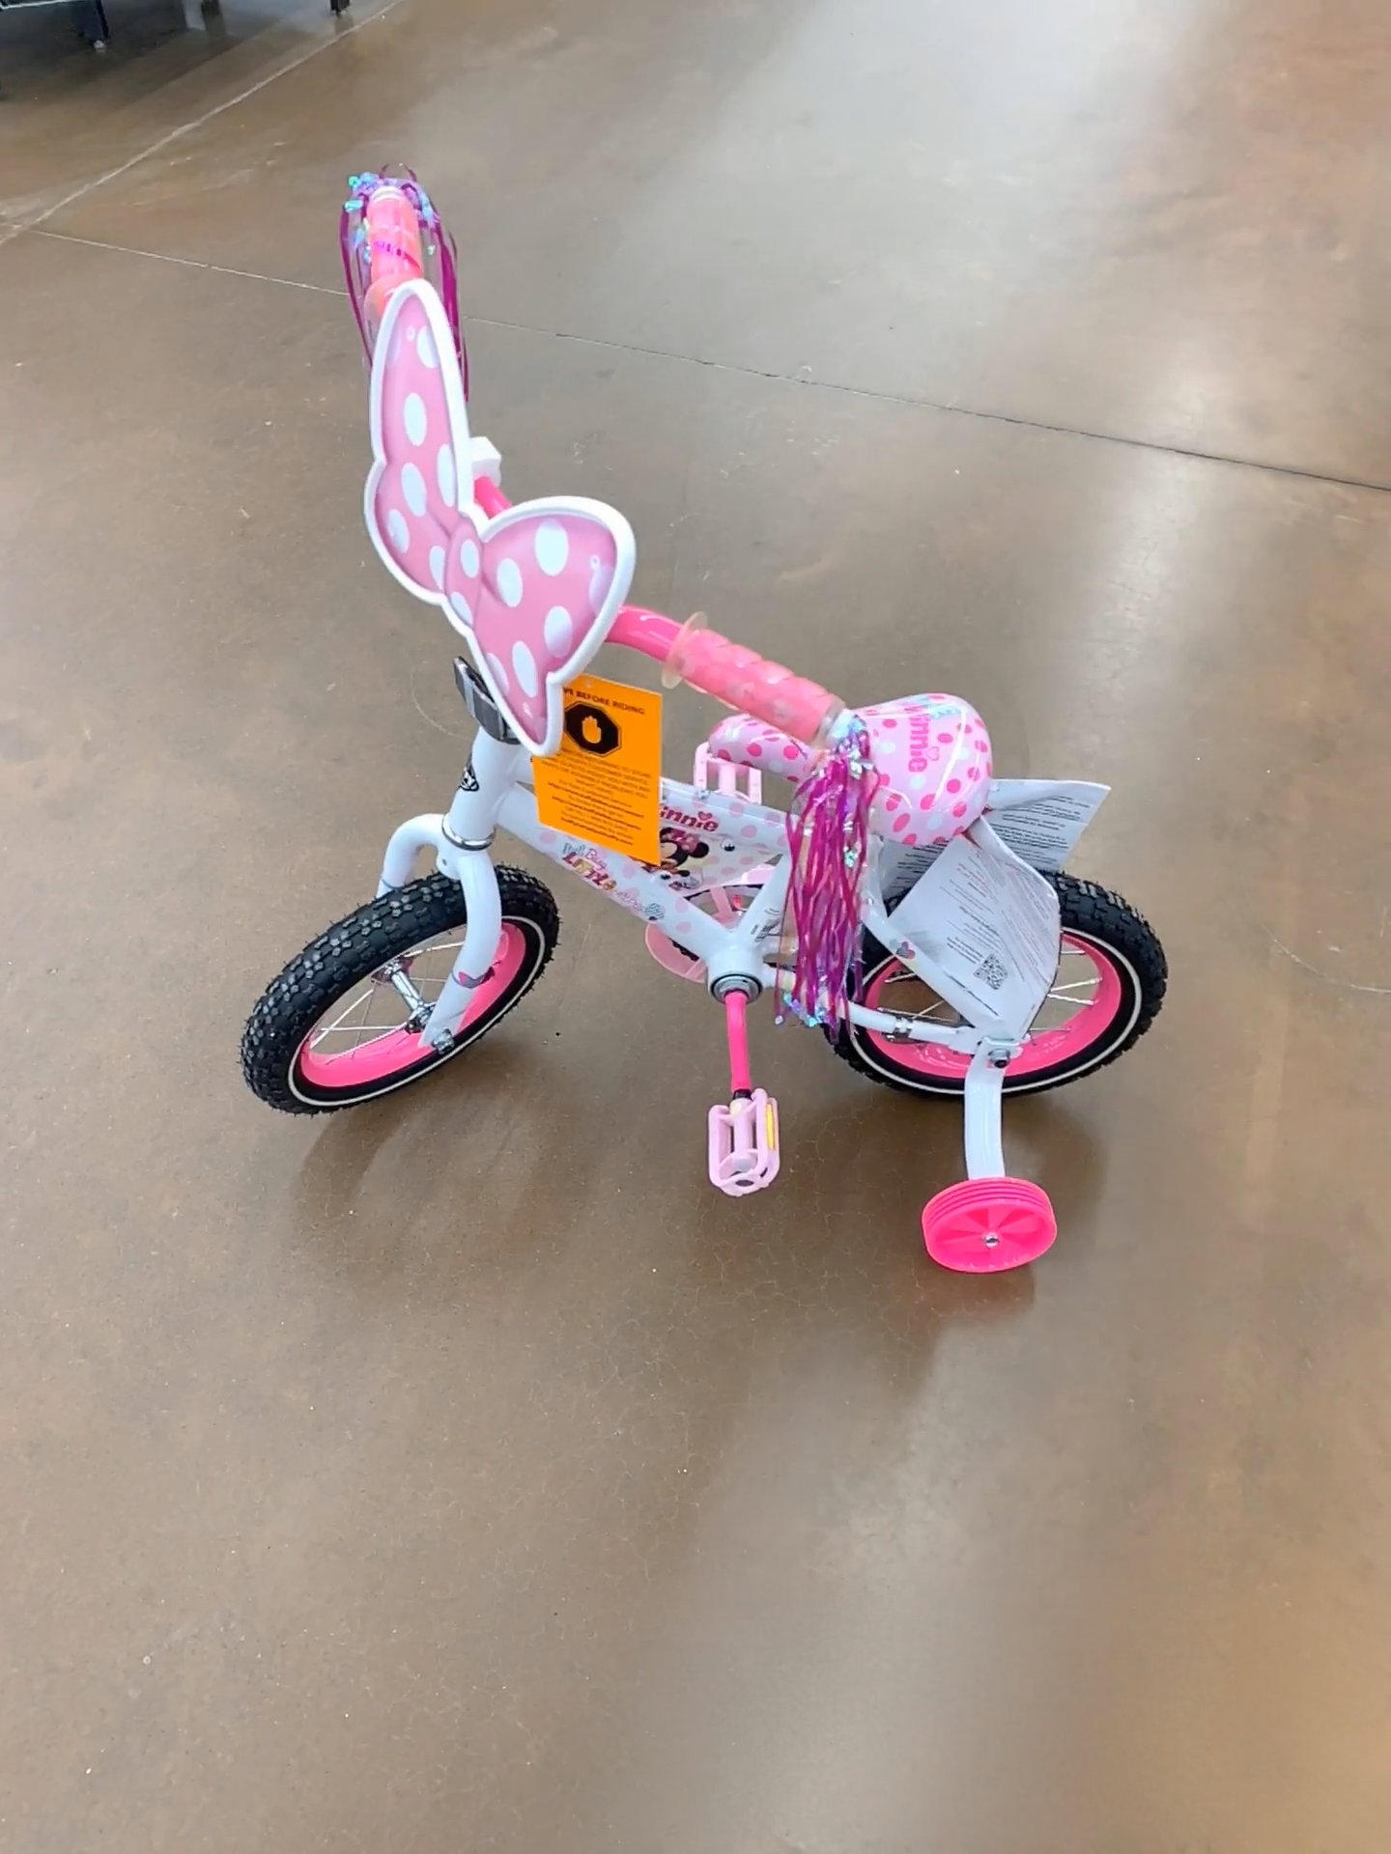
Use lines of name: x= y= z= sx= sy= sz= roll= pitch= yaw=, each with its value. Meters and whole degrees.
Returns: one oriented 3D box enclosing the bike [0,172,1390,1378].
bike: x=0.011 y=-0.061 z=1.067 sx=0.776 sy=0.707 sz=0.429 roll=-6 pitch=48 yaw=-2
